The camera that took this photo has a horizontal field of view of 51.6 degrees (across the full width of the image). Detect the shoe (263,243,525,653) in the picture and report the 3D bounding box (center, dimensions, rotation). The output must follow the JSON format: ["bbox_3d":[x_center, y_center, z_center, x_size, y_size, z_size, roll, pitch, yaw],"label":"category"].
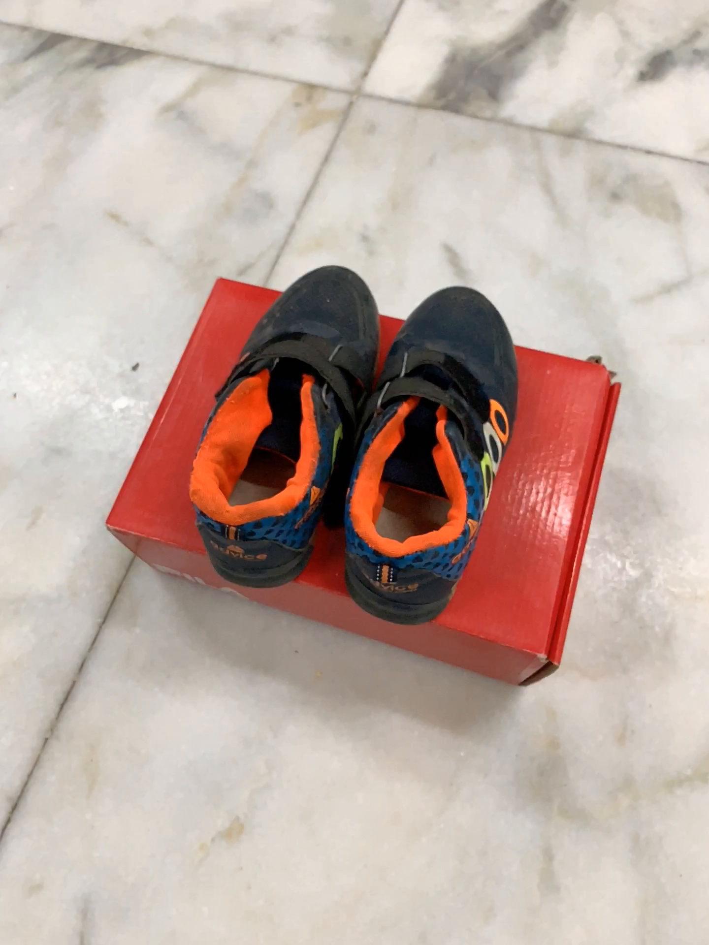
[{"bbox_3d":[0.029,-0.016,0.434,0.090,0.090,0.211,13,67,9],"label":"shoe"}]

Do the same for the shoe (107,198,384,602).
[{"bbox_3d":[-0.050,-0.045,0.426,0.080,0.080,0.211,14,67,9],"label":"shoe"}]
